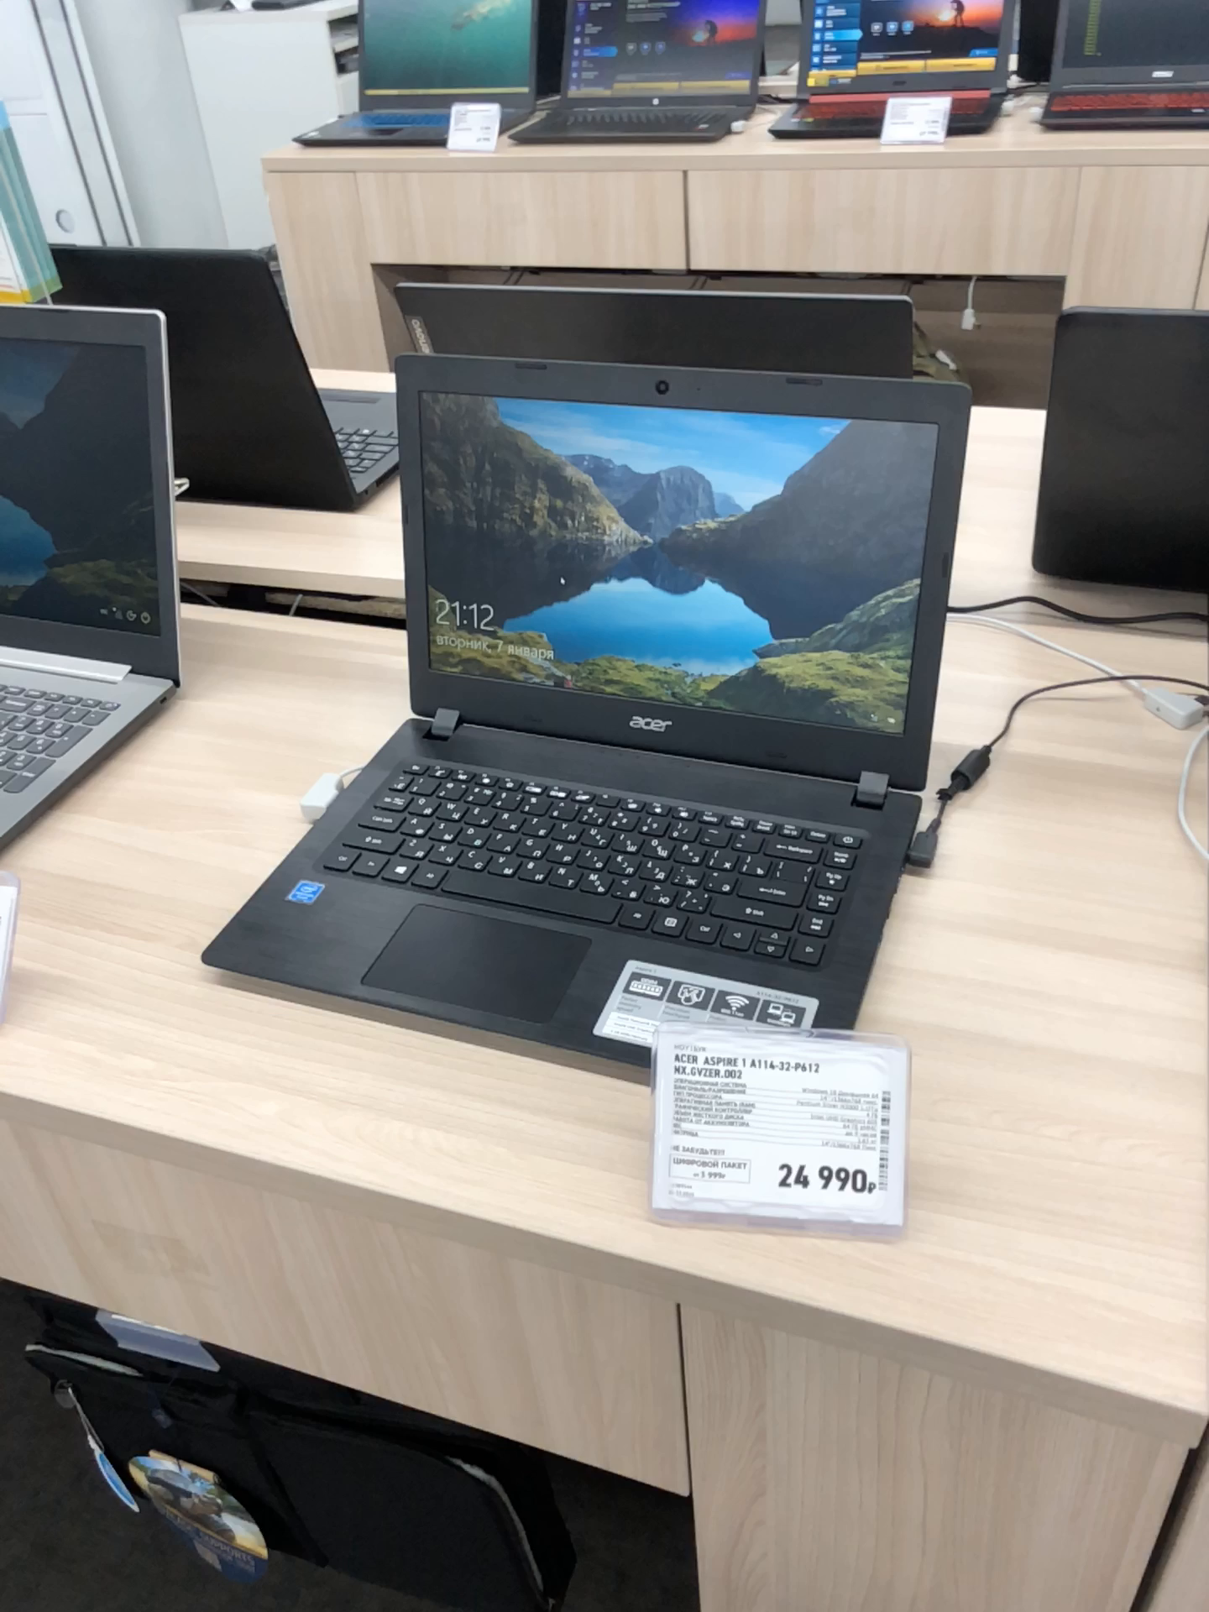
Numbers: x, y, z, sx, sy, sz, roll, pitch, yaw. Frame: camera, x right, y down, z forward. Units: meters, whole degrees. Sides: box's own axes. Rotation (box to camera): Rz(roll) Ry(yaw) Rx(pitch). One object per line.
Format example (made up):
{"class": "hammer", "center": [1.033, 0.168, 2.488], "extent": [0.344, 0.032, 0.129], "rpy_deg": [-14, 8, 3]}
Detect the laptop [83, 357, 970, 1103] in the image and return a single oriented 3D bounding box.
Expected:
{"class": "laptop", "center": [-0.011, -0.070, 0.709], "extent": [0.342, 0.223, 0.303], "rpy_deg": [9, 39, 19]}

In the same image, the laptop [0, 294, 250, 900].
{"class": "laptop", "center": [-0.519, -0.164, 0.880], "extent": [0.362, 0.237, 0.339], "rpy_deg": [10, 39, 21]}
